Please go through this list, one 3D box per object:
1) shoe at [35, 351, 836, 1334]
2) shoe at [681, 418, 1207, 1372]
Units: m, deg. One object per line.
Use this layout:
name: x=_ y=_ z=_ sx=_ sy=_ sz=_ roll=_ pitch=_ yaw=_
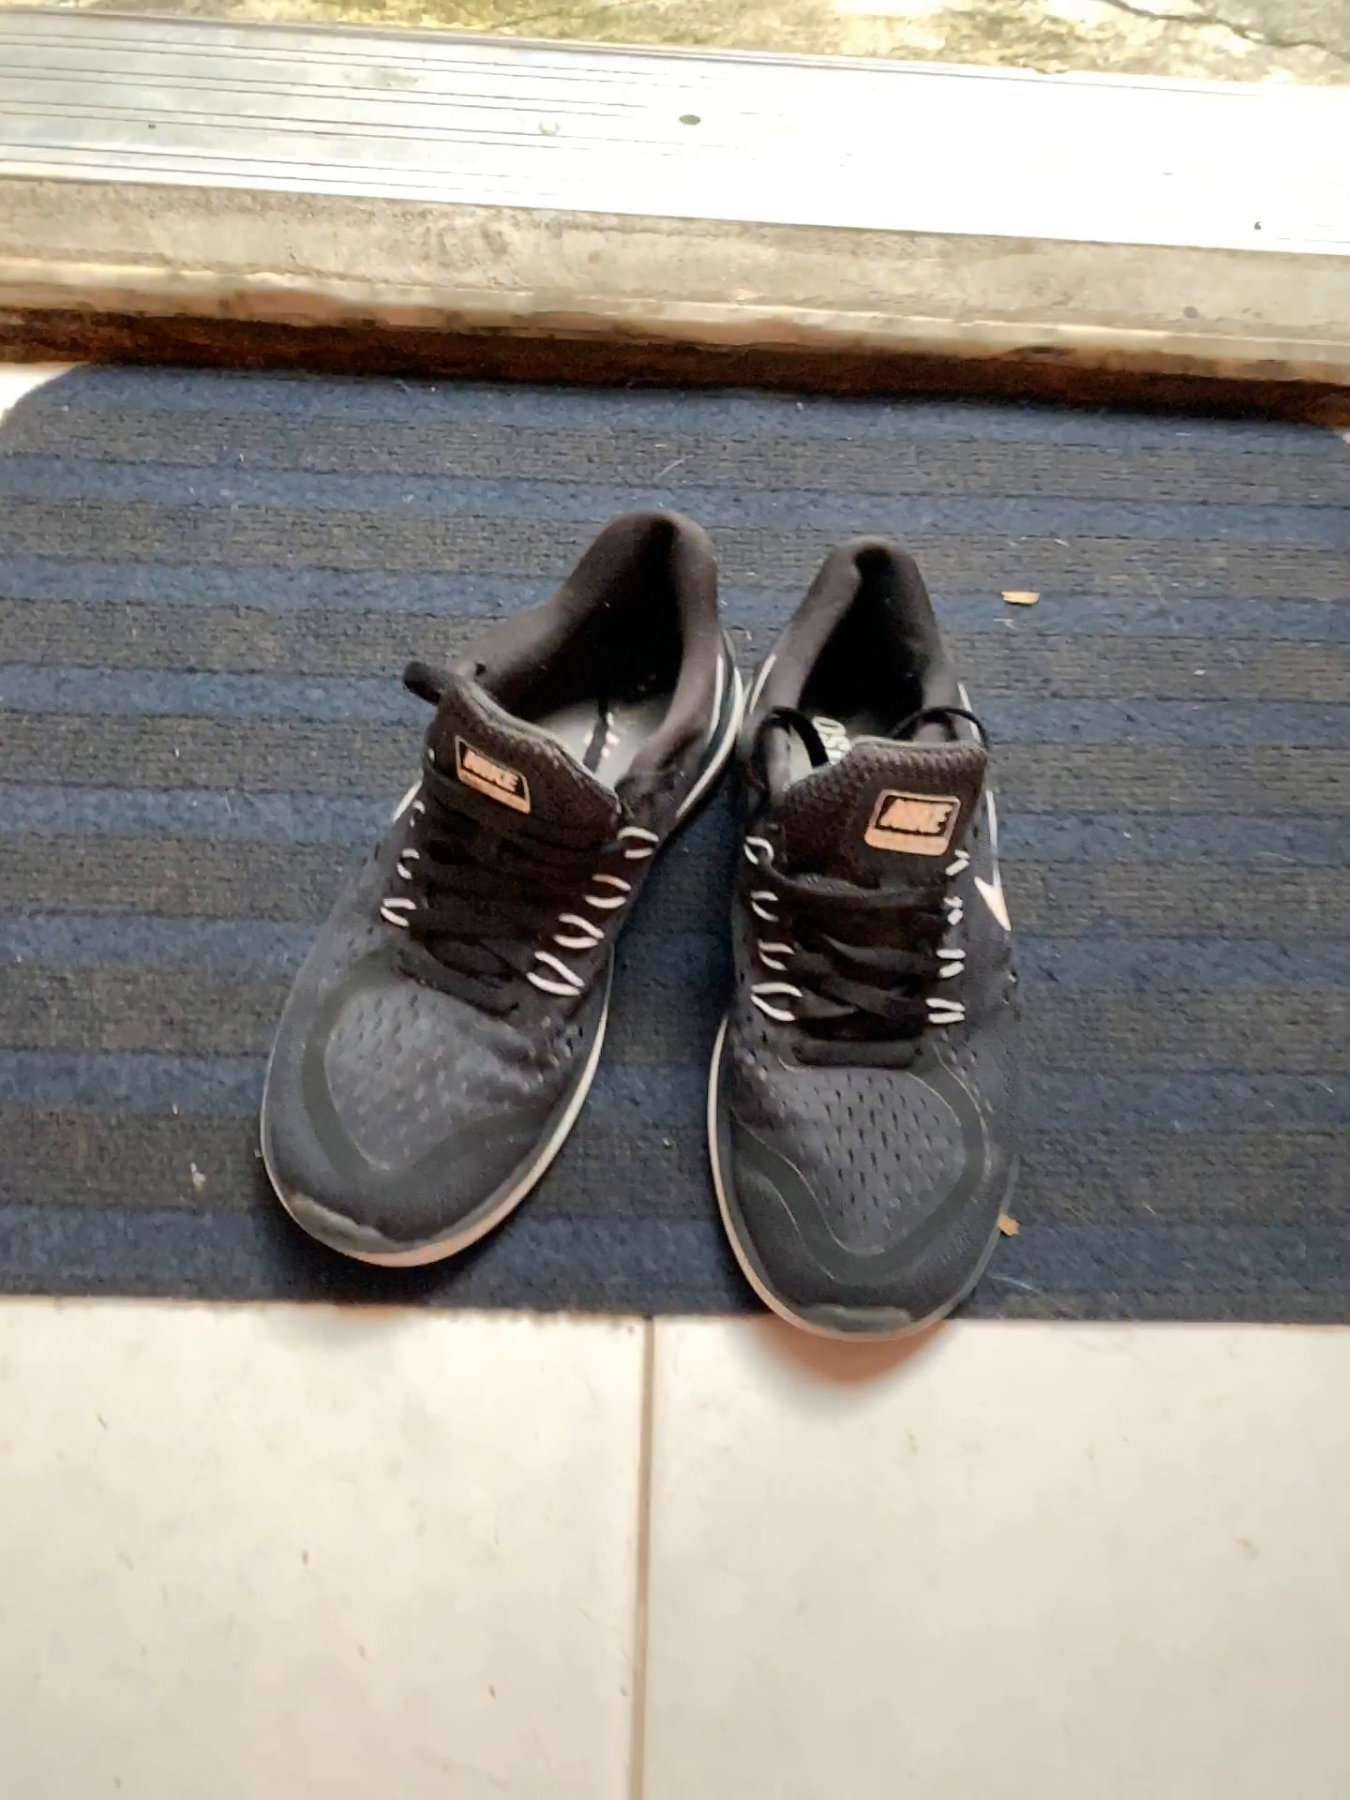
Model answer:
shoe: x=-0.051 y=-0.021 z=0.407 sx=0.104 sy=0.119 sz=0.249 roll=21 pitch=63 yaw=8
shoe: x=0.065 y=-0.003 z=0.404 sx=0.106 sy=0.119 sz=0.249 roll=4 pitch=62 yaw=-1
